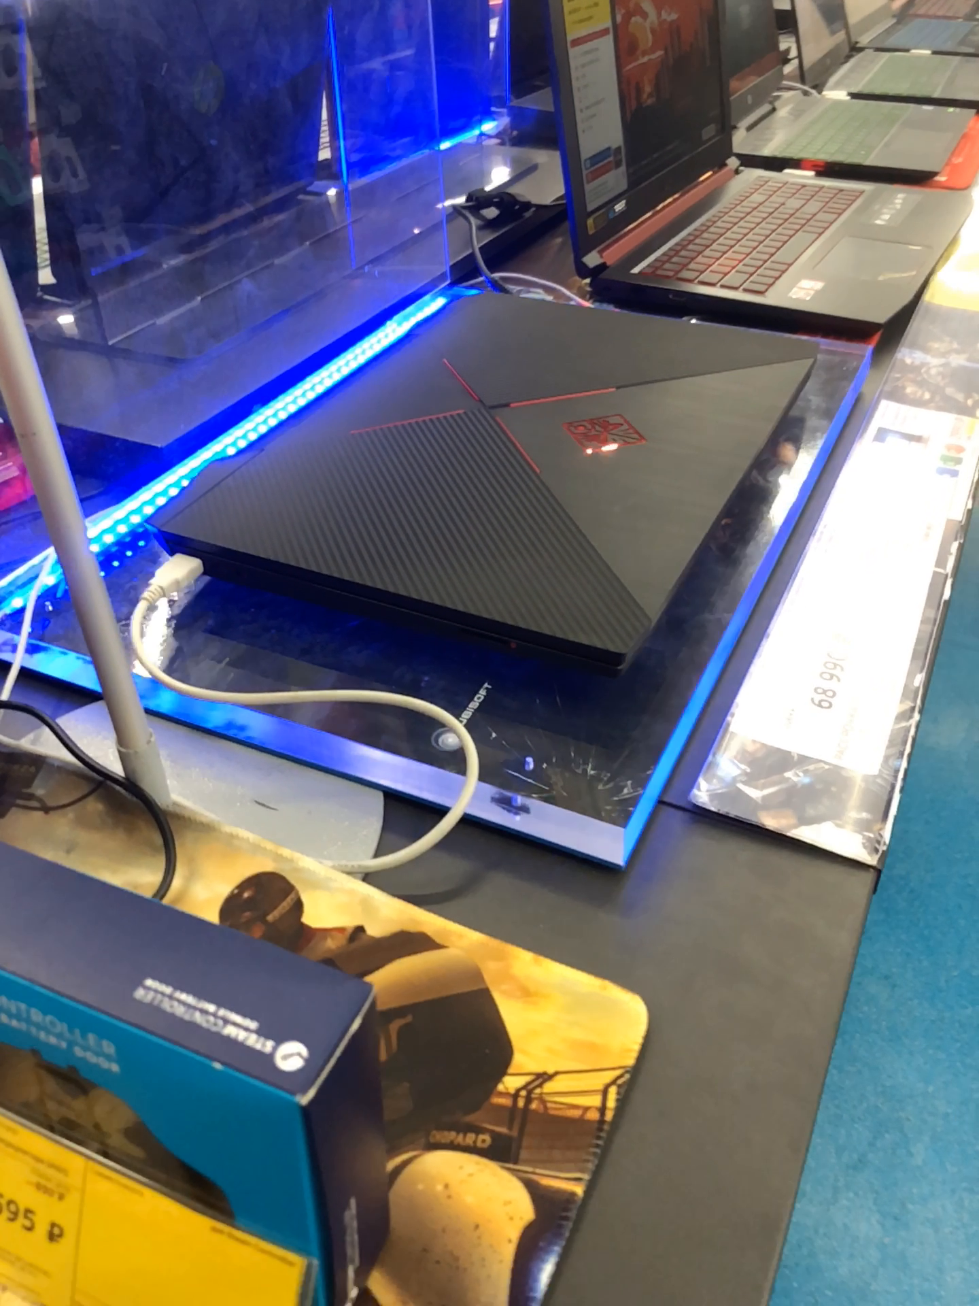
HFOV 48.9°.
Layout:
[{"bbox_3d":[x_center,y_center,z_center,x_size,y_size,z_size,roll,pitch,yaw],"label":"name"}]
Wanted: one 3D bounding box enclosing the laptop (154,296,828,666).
[{"bbox_3d":[0.026,-0.123,0.594,0.237,0.003,0.351,16,41,21],"label":"laptop"}]
